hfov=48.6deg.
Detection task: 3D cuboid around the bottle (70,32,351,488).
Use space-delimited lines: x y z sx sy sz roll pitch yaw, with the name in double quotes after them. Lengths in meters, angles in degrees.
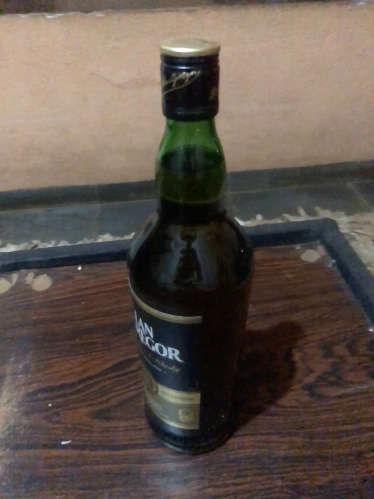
0.009 0.031 0.295 0.100 0.308 0.101 -1 38 1 "bottle"
